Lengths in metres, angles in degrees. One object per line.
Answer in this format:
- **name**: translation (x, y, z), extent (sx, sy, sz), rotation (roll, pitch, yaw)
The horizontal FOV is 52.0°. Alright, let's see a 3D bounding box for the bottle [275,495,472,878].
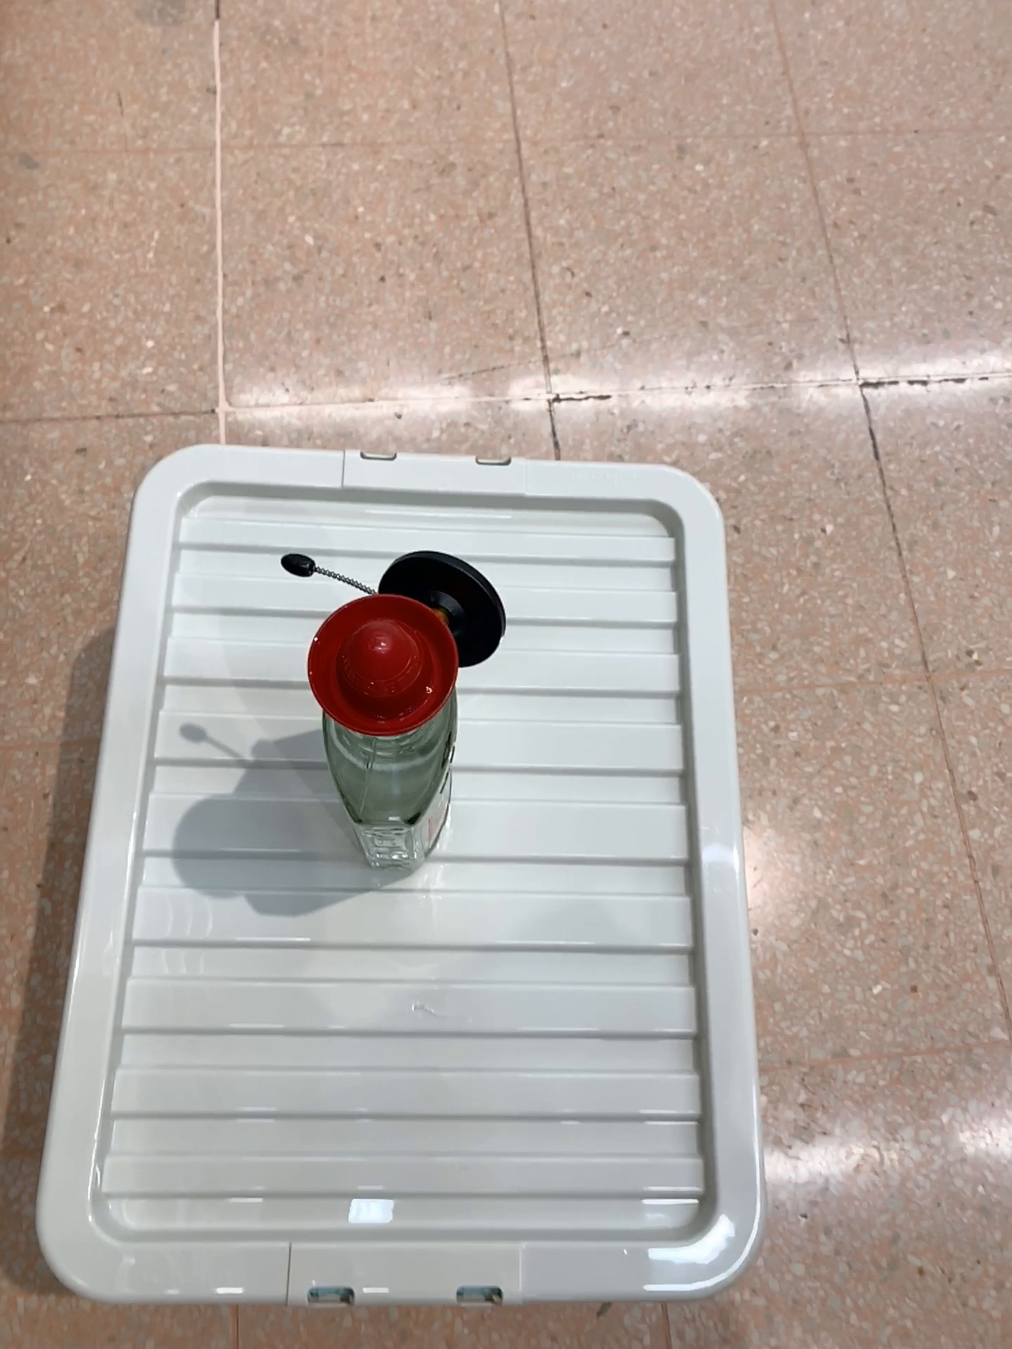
- **bottle**: translation (-0.050, 0.024, 0.465), extent (0.058, 0.241, 0.103), rotation (3, 72, -2)
